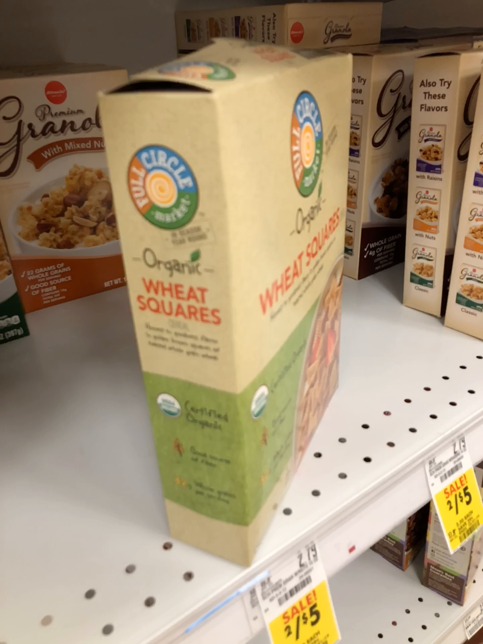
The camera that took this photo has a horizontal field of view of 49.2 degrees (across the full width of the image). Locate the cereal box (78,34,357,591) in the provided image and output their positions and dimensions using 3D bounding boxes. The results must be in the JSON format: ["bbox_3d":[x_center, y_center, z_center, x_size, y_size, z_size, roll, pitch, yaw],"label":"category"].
[{"bbox_3d":[0.012,-0.013,0.328,0.050,0.279,0.200,11,33,23],"label":"cereal box"}]
